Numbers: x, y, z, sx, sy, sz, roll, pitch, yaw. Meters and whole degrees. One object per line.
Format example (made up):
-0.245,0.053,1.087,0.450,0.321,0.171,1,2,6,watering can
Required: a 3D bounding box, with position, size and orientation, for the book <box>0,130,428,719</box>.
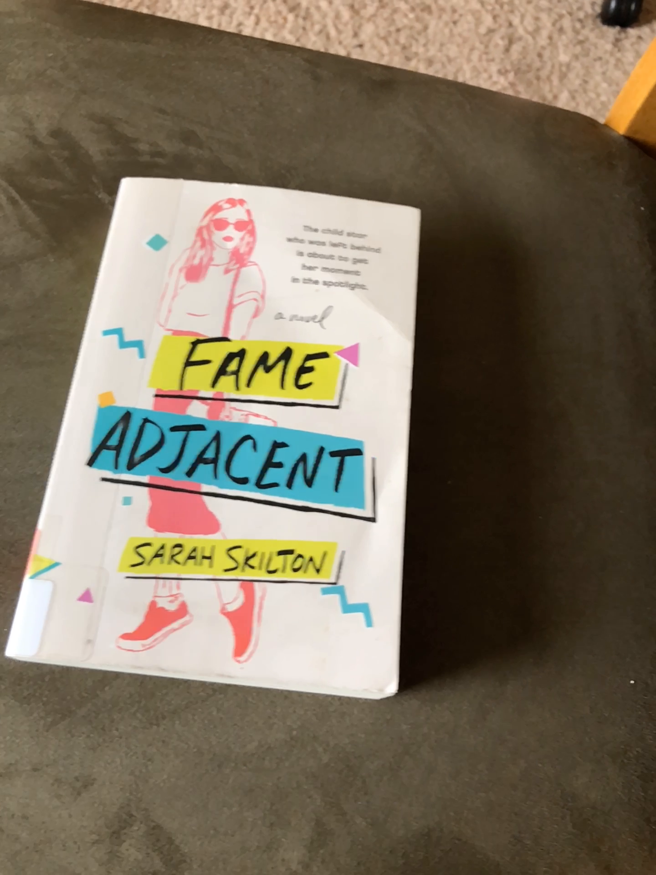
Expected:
-0.039,-0.014,0.287,0.140,0.040,0.220,6,68,0,book
